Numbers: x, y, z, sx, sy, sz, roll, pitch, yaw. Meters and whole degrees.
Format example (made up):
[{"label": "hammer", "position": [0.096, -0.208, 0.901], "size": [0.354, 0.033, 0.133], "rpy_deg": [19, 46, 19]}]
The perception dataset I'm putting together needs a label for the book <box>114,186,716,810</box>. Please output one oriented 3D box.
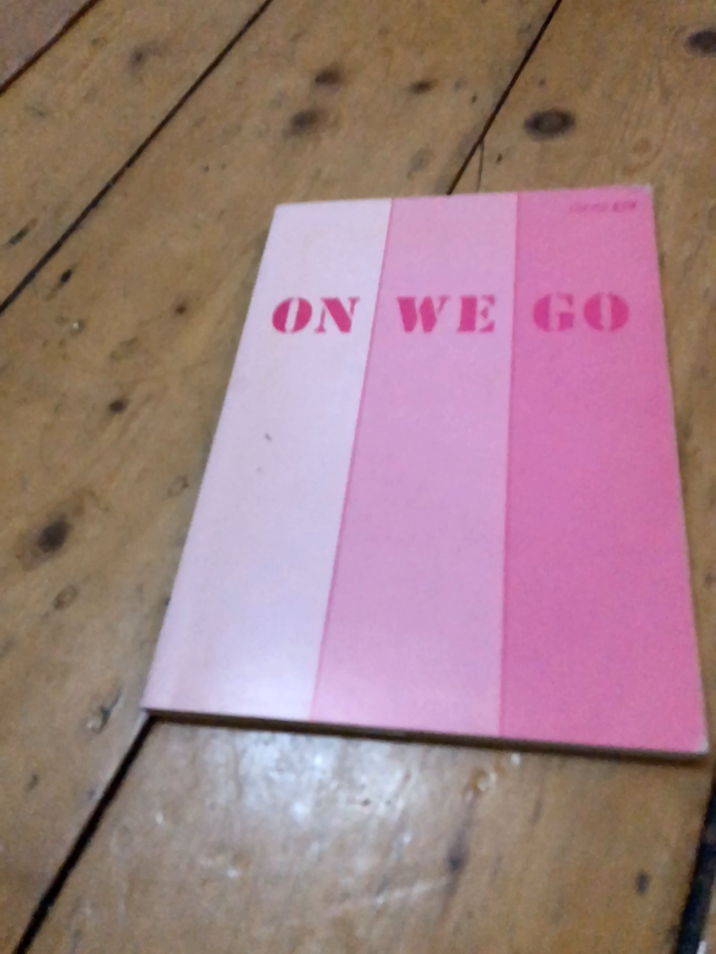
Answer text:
[{"label": "book", "position": [0.025, -0.014, 0.268], "size": [0.160, 0.020, 0.221], "rpy_deg": [1, 58, 12]}]
